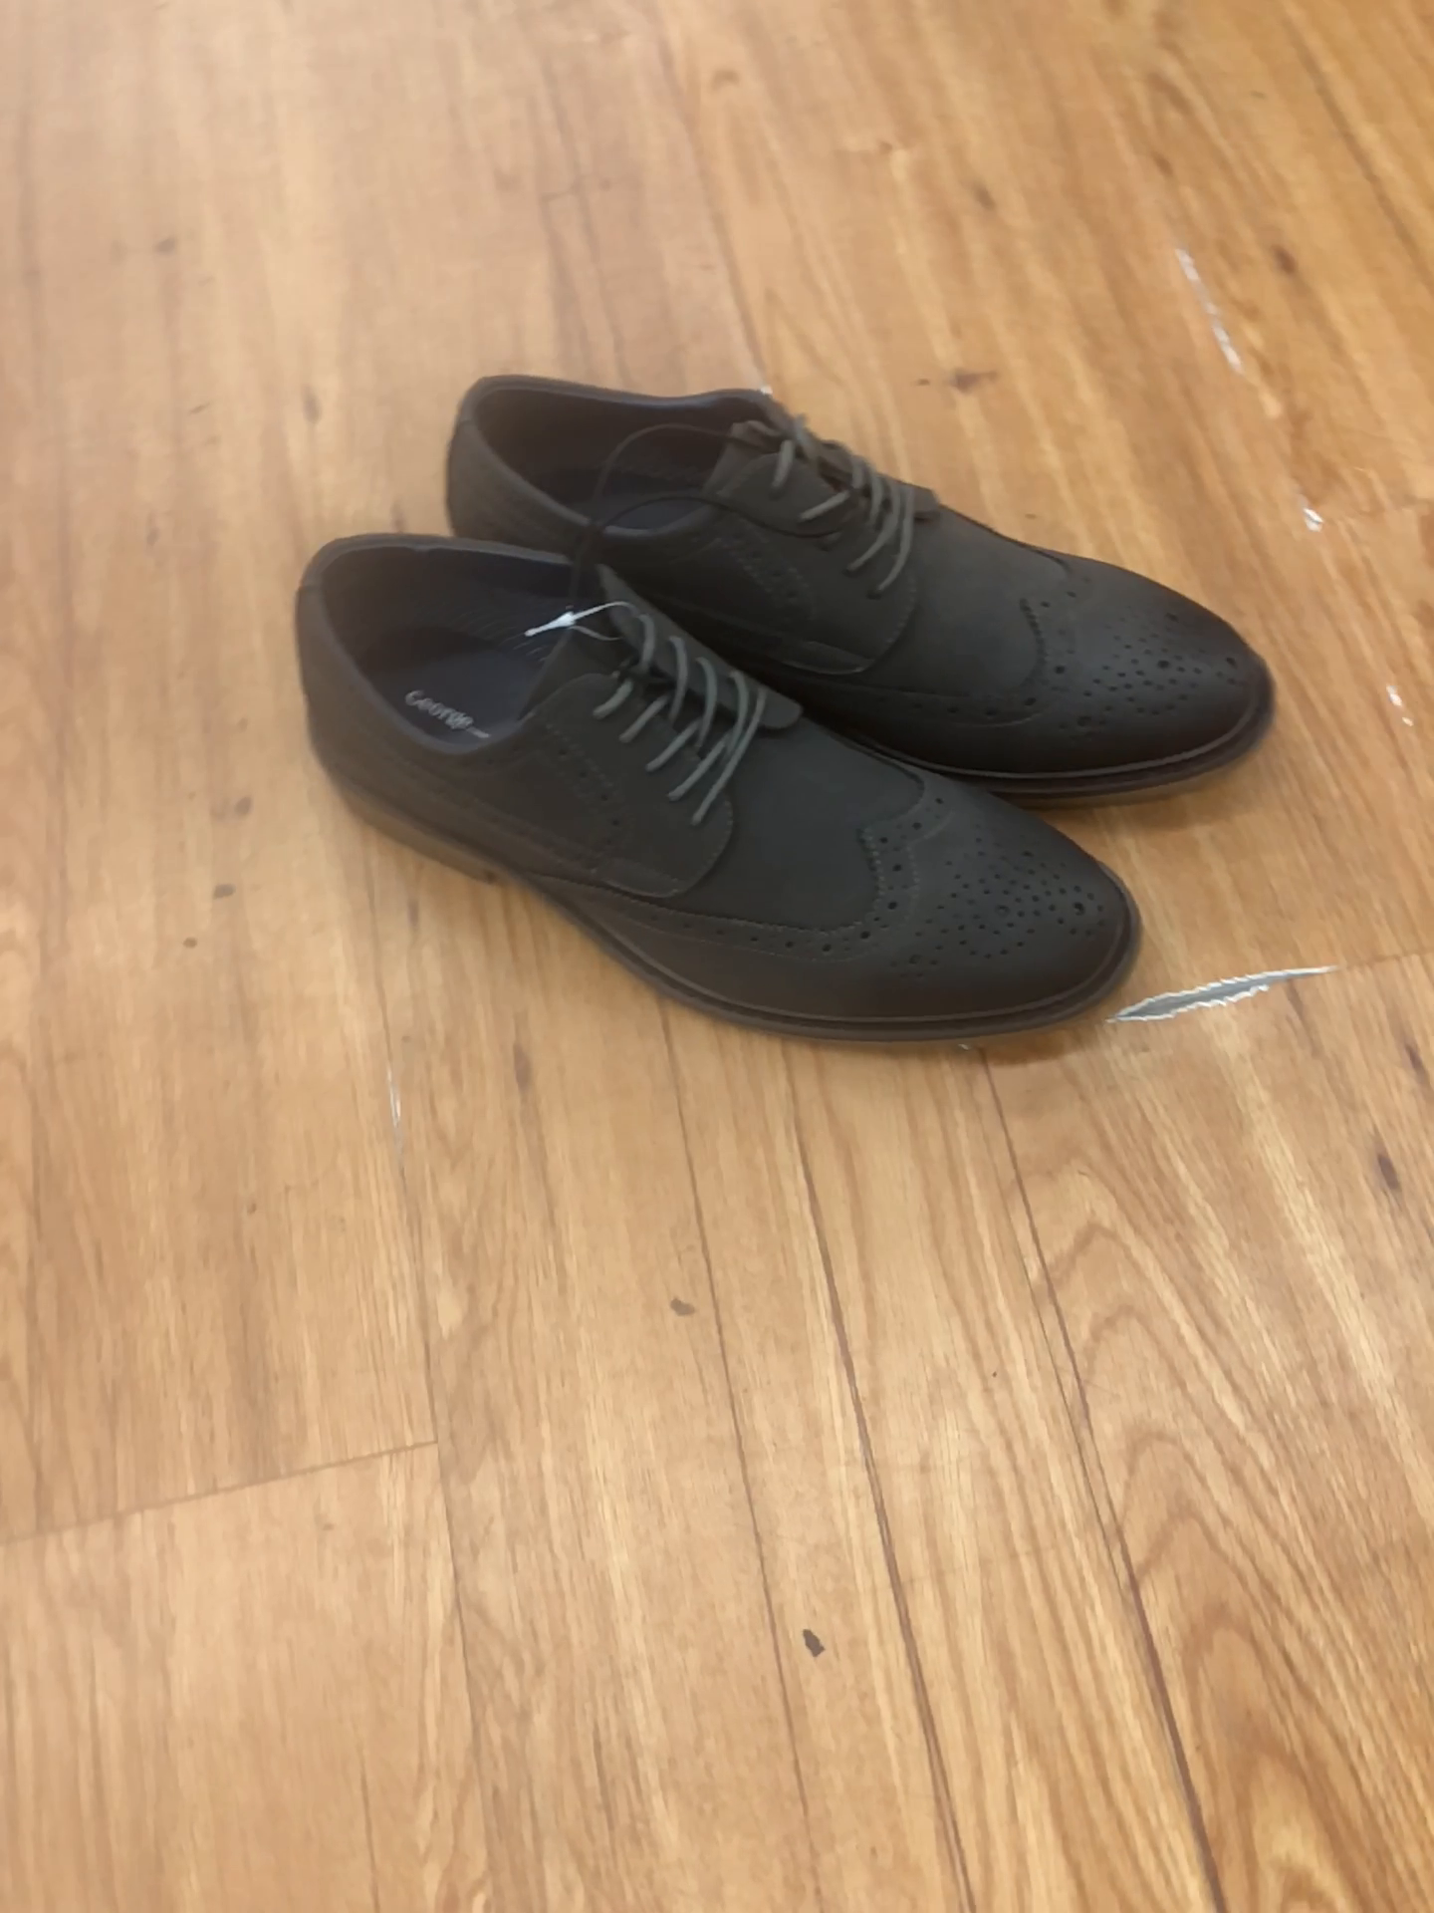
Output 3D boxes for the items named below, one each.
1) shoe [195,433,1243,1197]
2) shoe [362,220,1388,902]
[{"bbox_3d":[-0.001,-0.046,0.502,0.280,0.110,0.110,23,68,15],"label":"shoe"},{"bbox_3d":[0.048,-0.129,0.517,0.280,0.110,0.110,17,67,12],"label":"shoe"}]
